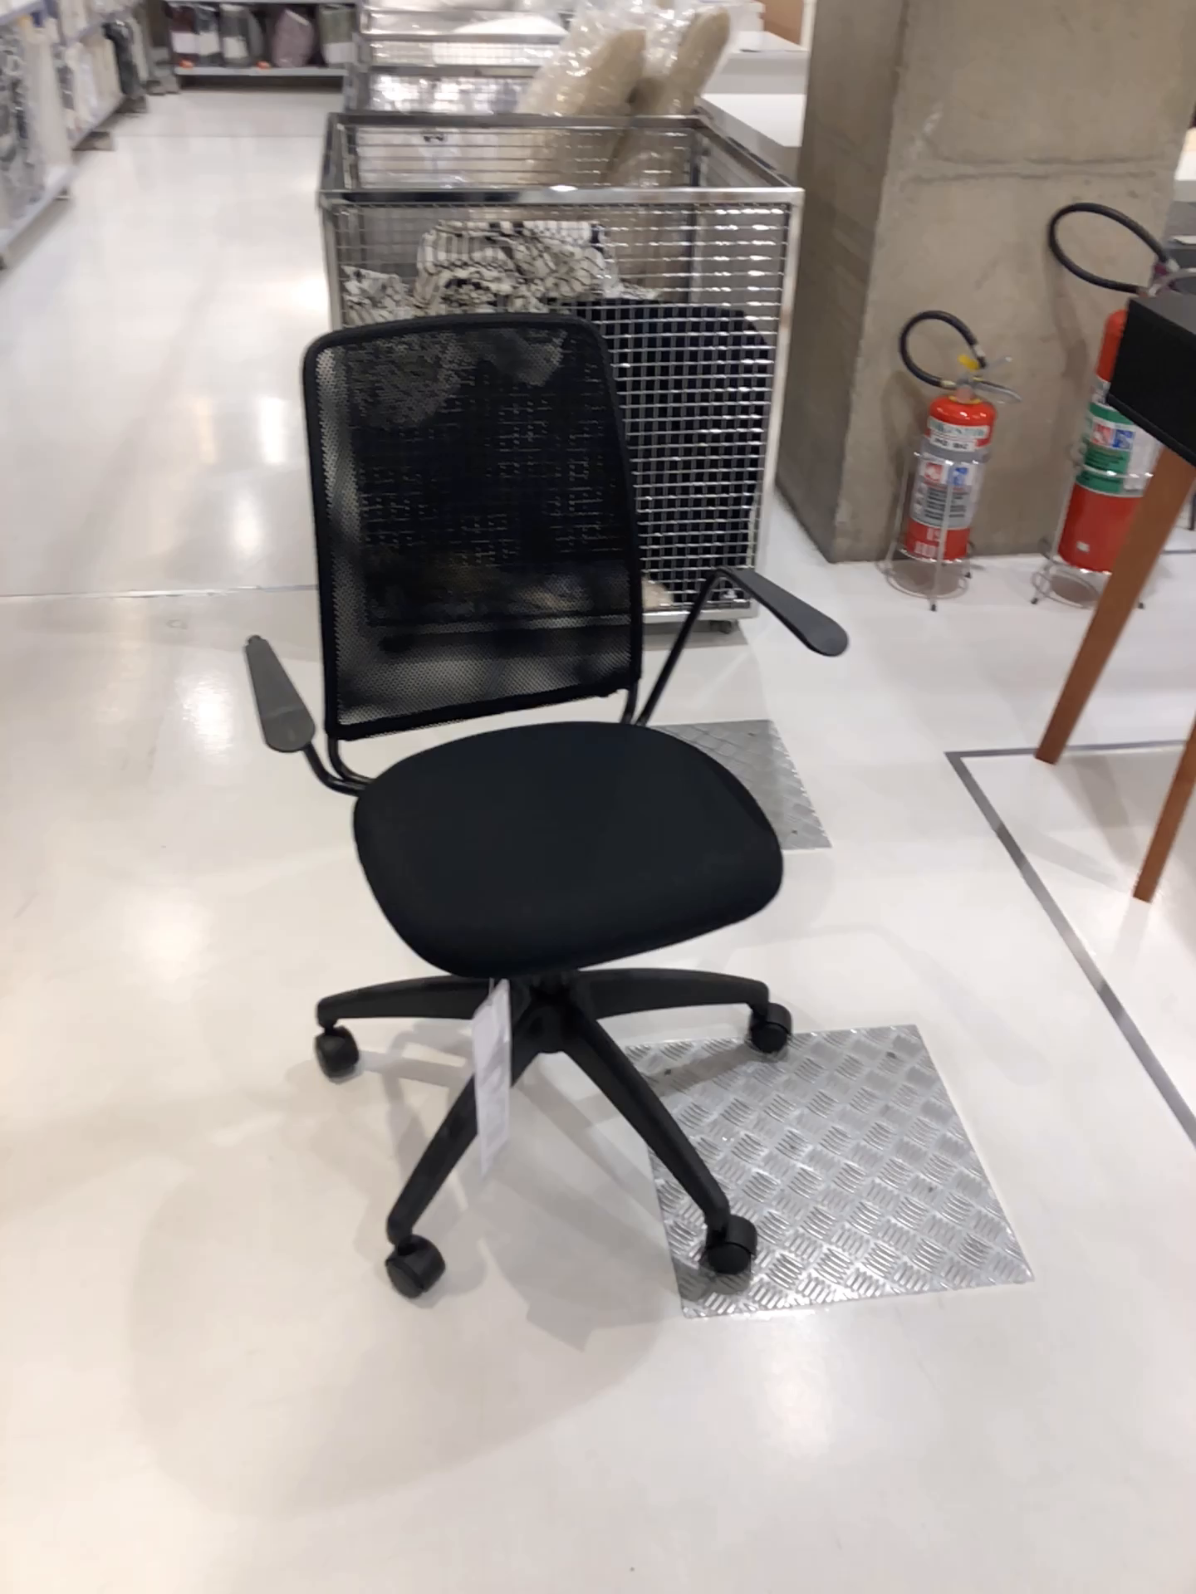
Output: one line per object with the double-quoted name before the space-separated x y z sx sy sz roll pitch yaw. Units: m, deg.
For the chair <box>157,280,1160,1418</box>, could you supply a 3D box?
"chair" -0.016 -0.006 1.361 0.631 0.814 0.694 -13 37 -20
